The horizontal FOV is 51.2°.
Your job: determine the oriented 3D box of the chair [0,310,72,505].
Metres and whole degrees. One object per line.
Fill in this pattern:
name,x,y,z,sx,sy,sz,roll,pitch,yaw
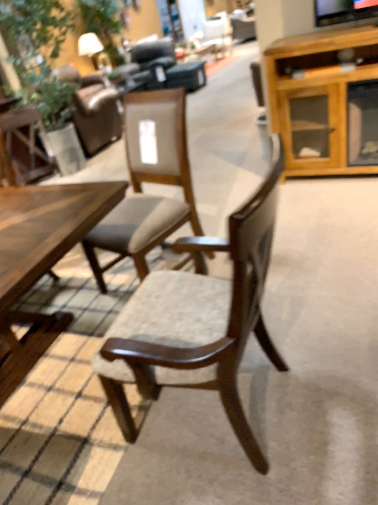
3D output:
chair,-0.752,0.673,0.724,0.505,0.916,0.647,-3,33,18

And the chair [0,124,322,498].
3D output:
chair,0.028,0.162,1.241,0.655,0.896,0.547,2,35,25

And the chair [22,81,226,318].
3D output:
chair,-0.256,-0.286,2.035,0.506,0.936,0.646,11,39,35
